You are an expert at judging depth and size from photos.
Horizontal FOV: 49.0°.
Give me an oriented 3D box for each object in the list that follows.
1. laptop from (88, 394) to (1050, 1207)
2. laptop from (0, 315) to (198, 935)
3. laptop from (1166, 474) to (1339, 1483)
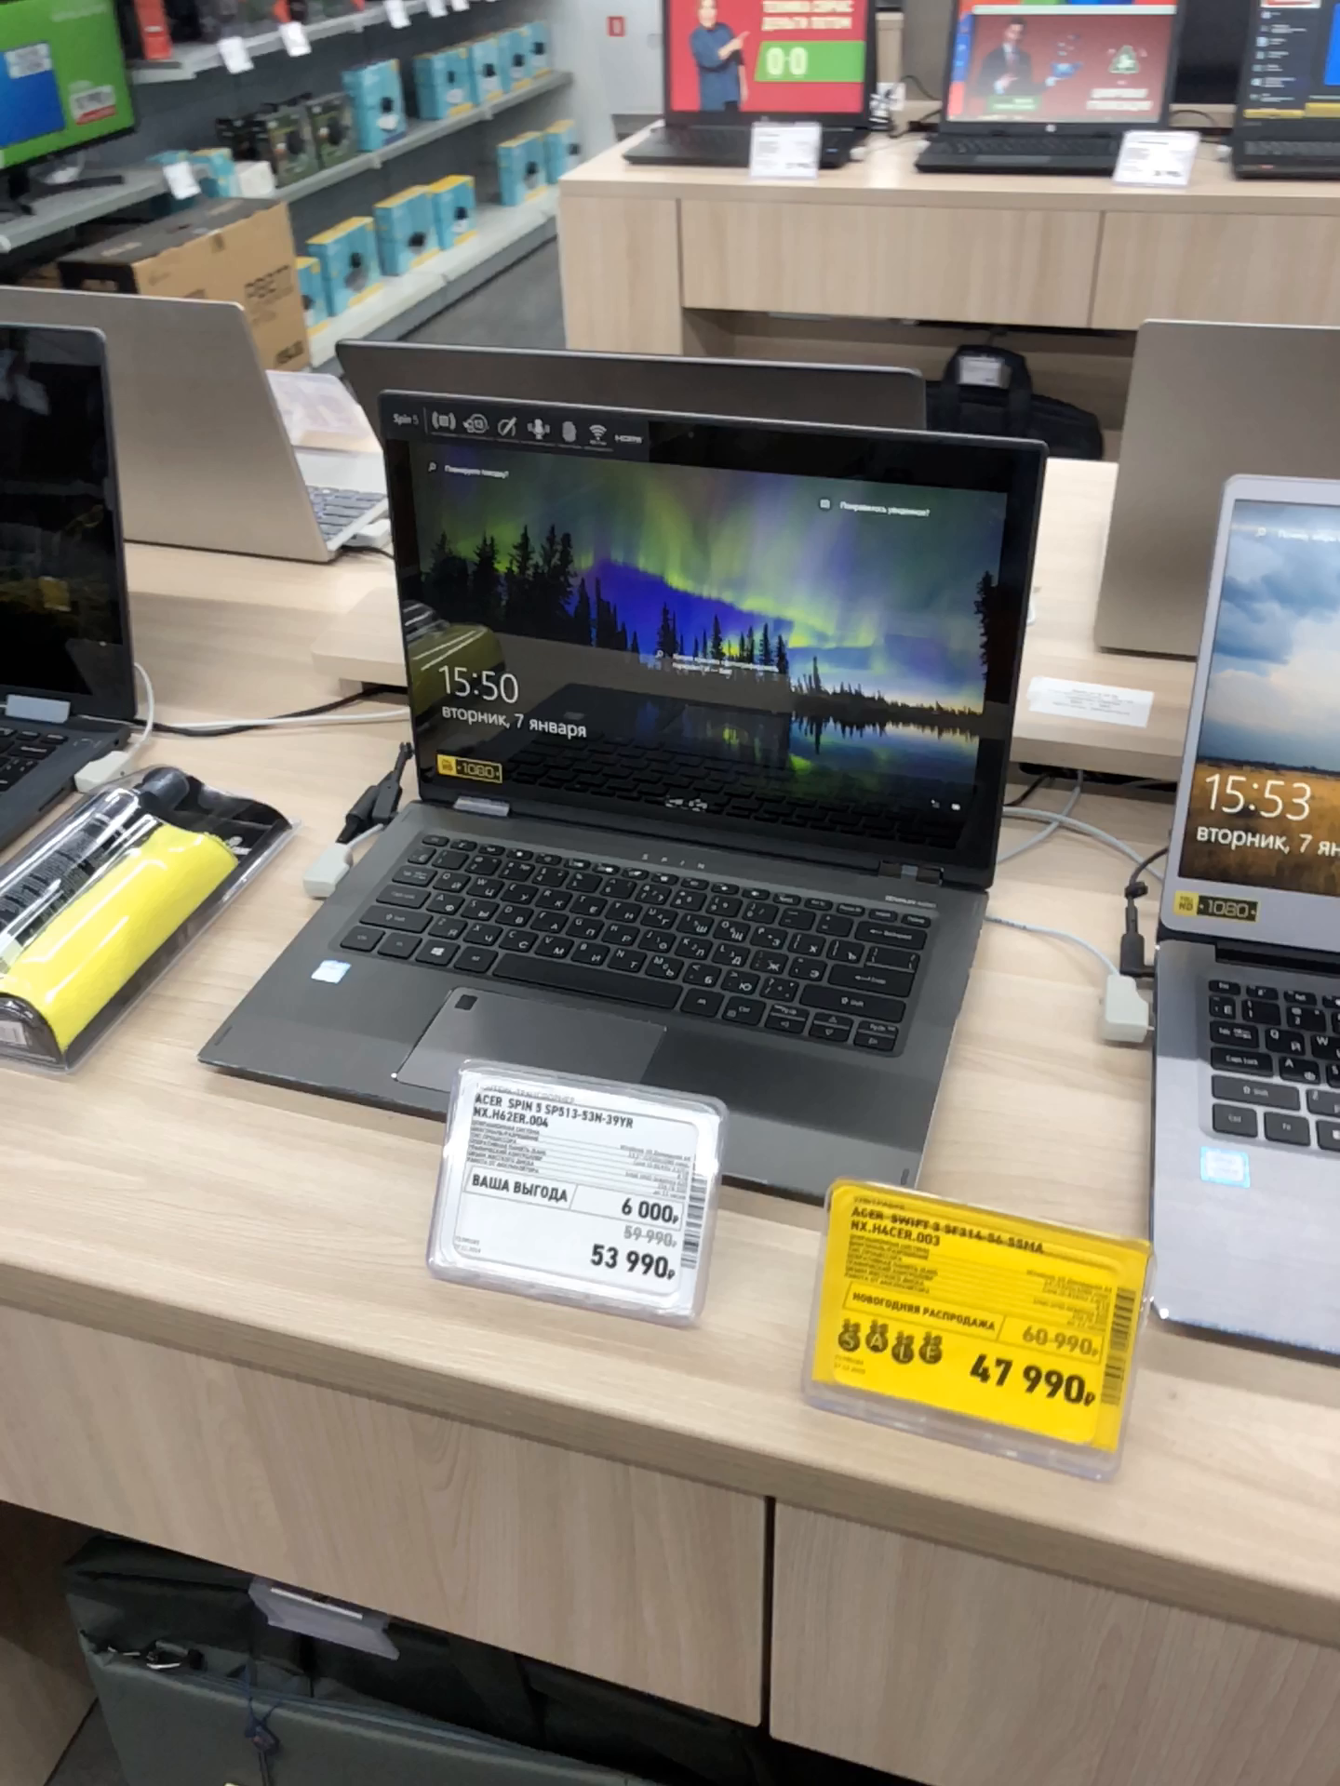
[{"bbox_3d":[-0.020,-0.061,0.648,0.314,0.215,0.246,10,37,16],"label":"laptop"},{"bbox_3d":[-0.516,-0.170,0.827,0.340,0.215,0.289,8,37,16],"label":"laptop"},{"bbox_3d":[0.347,-0.003,0.551,0.270,0.196,0.299,7,36,15],"label":"laptop"}]
